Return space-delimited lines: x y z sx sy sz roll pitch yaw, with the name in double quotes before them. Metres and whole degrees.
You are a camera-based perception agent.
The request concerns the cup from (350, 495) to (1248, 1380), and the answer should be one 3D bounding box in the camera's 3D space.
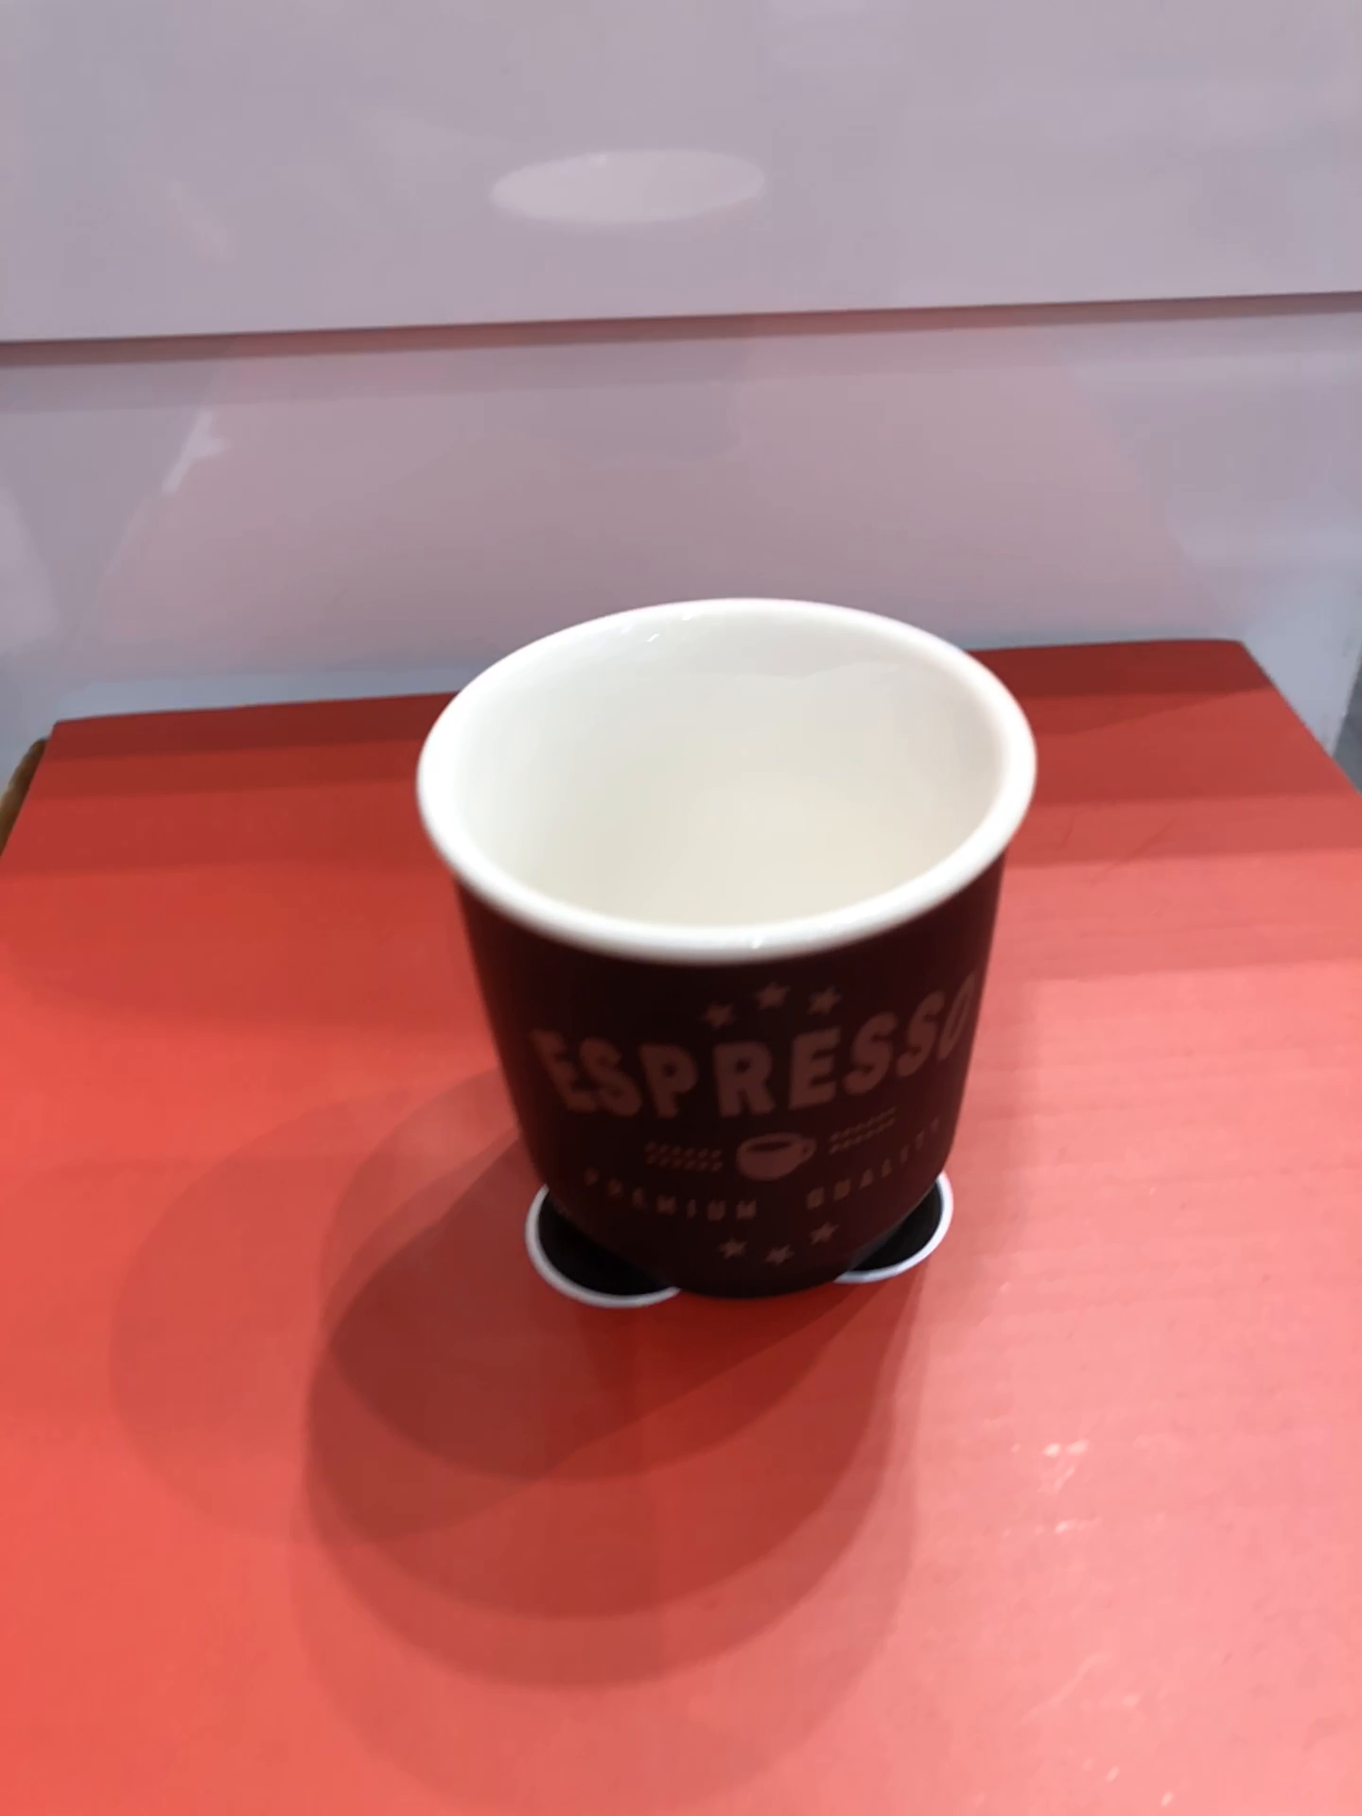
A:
"cup" 0.008 0.000 0.168 0.070 0.060 0.060 -12 40 -14
